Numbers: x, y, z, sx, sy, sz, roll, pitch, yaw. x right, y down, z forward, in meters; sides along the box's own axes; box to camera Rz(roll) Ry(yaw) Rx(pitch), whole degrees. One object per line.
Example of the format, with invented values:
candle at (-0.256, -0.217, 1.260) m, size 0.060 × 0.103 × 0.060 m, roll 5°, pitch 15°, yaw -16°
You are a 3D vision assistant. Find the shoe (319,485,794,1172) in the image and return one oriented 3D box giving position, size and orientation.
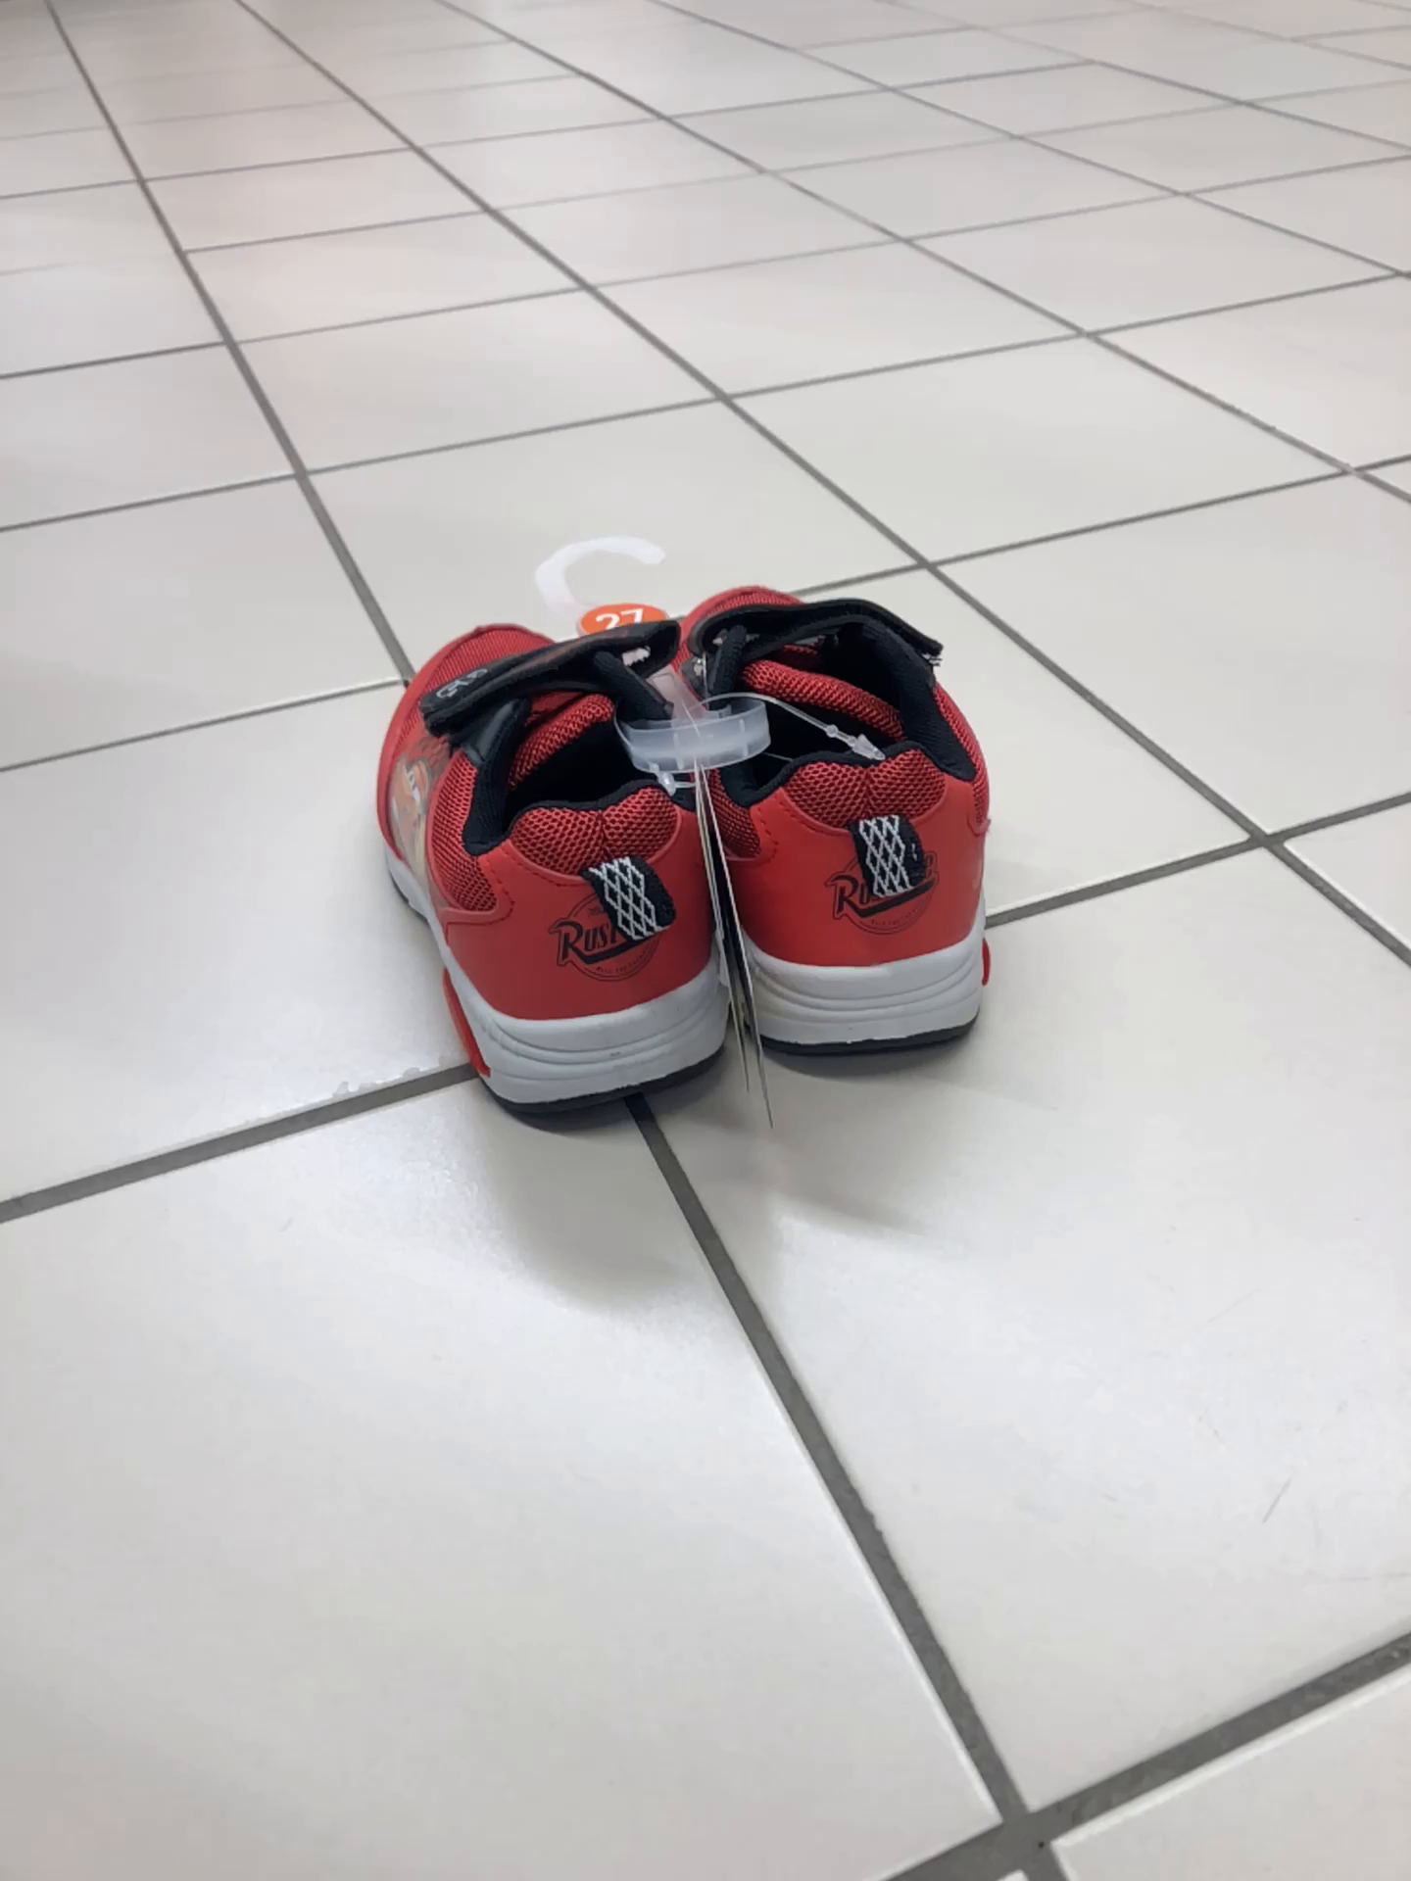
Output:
shoe at (-0.046, -0.043, 0.409) m, size 0.087 × 0.074 × 0.195 m, roll -10°, pitch 39°, yaw -9°

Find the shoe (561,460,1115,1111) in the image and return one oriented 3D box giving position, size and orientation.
shoe at (0.023, -0.055, 0.422) m, size 0.087 × 0.073 × 0.195 m, roll -10°, pitch 39°, yaw -9°
